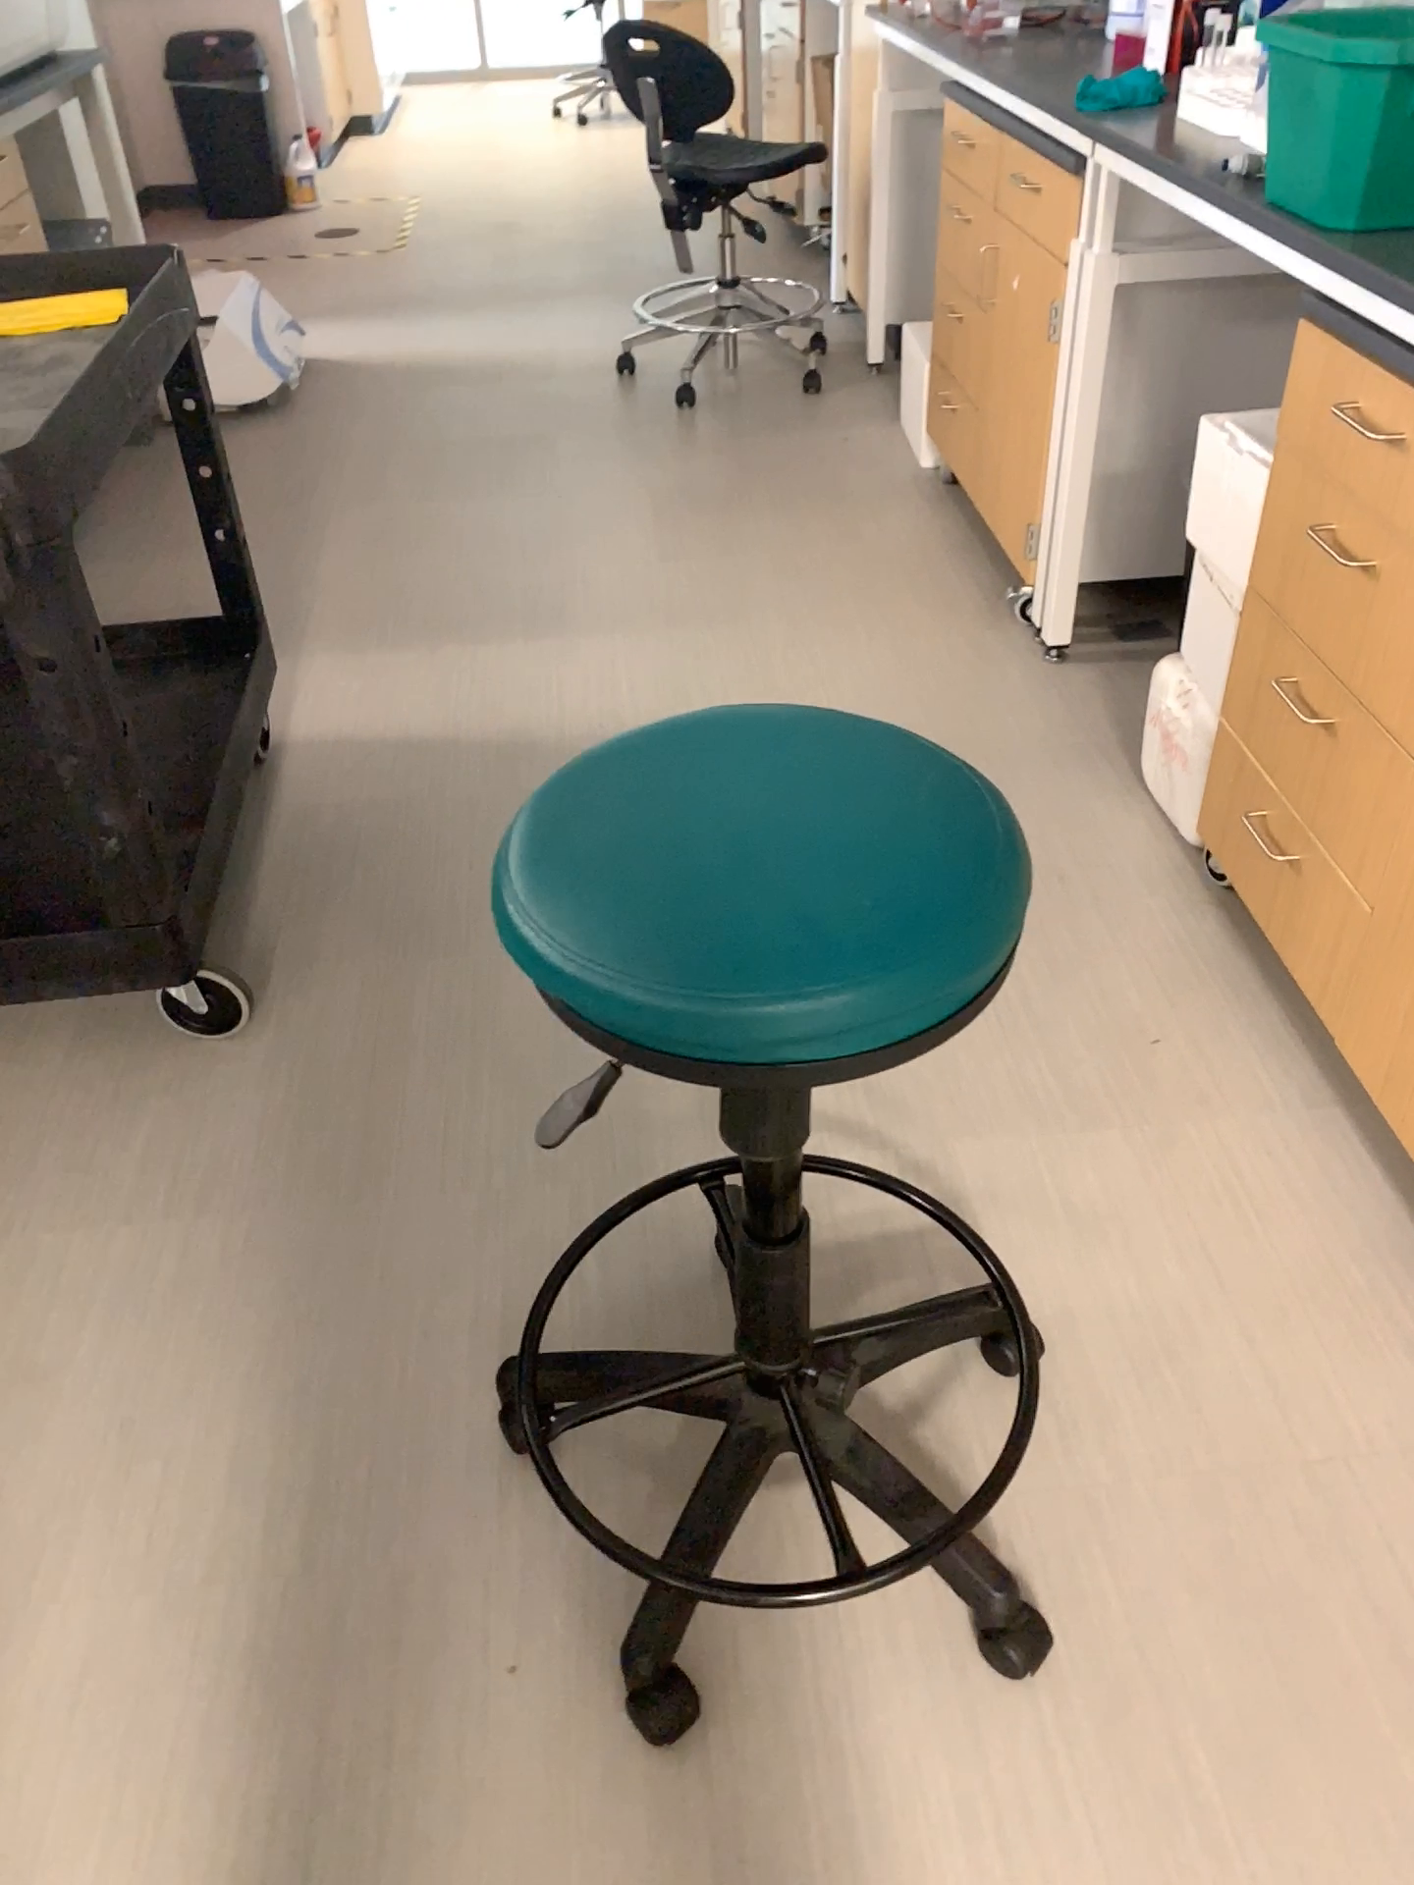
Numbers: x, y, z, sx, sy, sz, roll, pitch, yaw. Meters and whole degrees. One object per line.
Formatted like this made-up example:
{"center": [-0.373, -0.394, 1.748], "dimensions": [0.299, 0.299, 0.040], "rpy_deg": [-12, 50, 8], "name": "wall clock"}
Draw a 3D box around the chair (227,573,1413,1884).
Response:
{"center": [0.074, 0.181, 1.160], "dimensions": [0.592, 0.654, 0.594], "rpy_deg": [-23, 41, -25], "name": "chair"}
